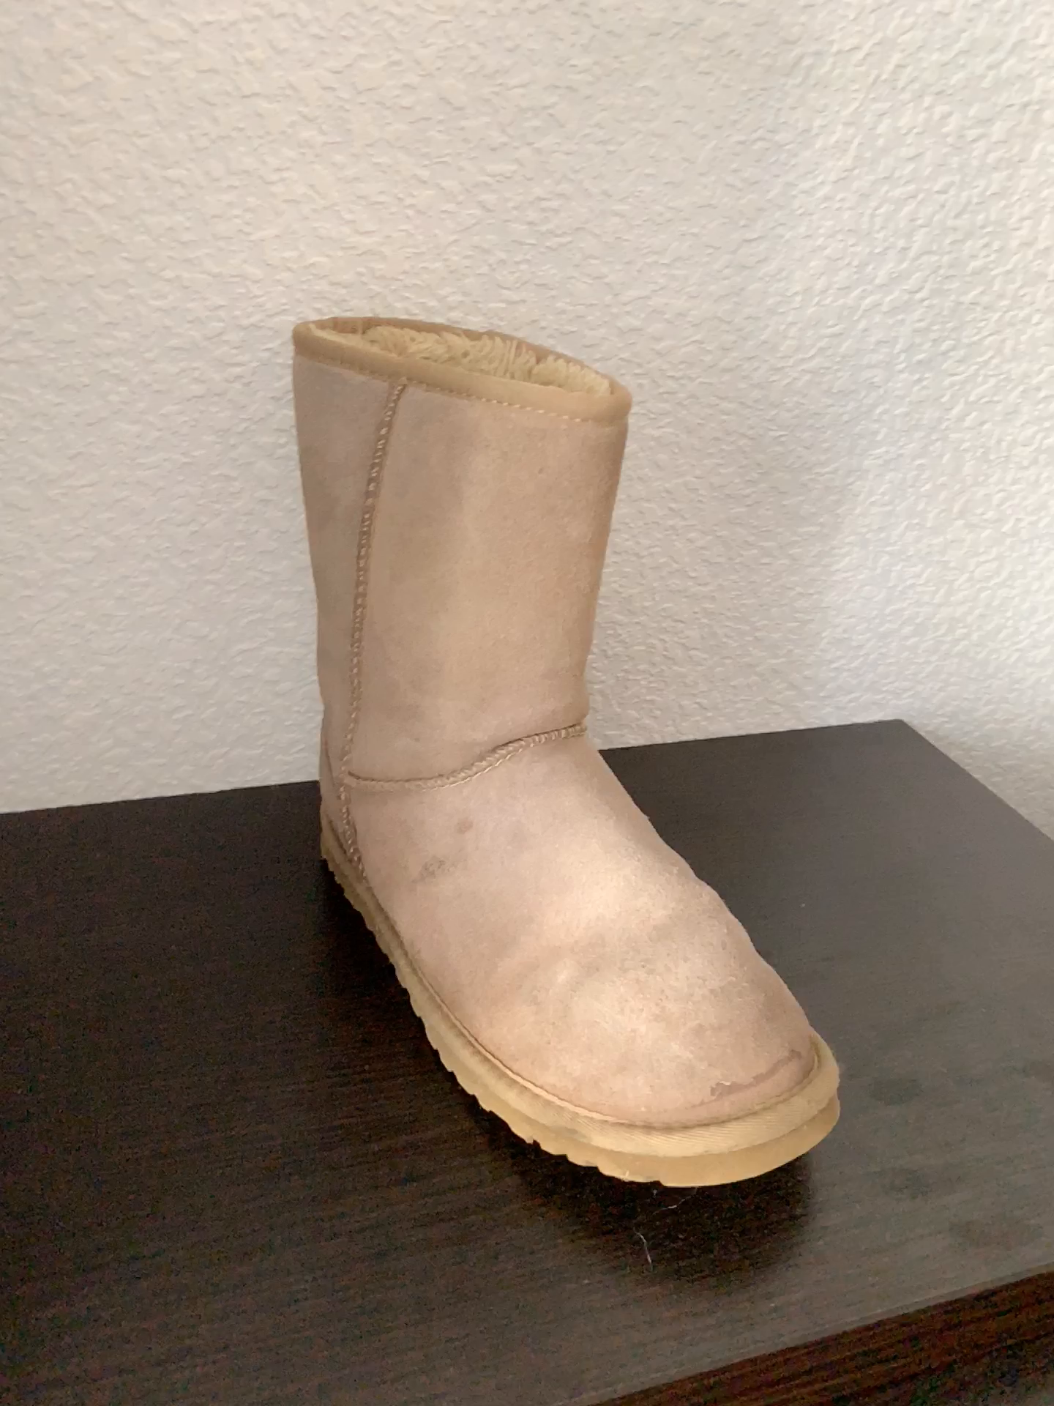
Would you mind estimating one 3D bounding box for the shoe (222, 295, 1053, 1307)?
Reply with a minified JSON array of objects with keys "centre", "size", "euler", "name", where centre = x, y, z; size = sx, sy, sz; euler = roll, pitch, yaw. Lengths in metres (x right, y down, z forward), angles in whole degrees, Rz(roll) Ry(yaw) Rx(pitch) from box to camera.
[{"centre":[0.007,-0.002,0.371],"size":[0.116,0.229,0.261],"euler":[-14,31,-33],"name":"shoe"}]
